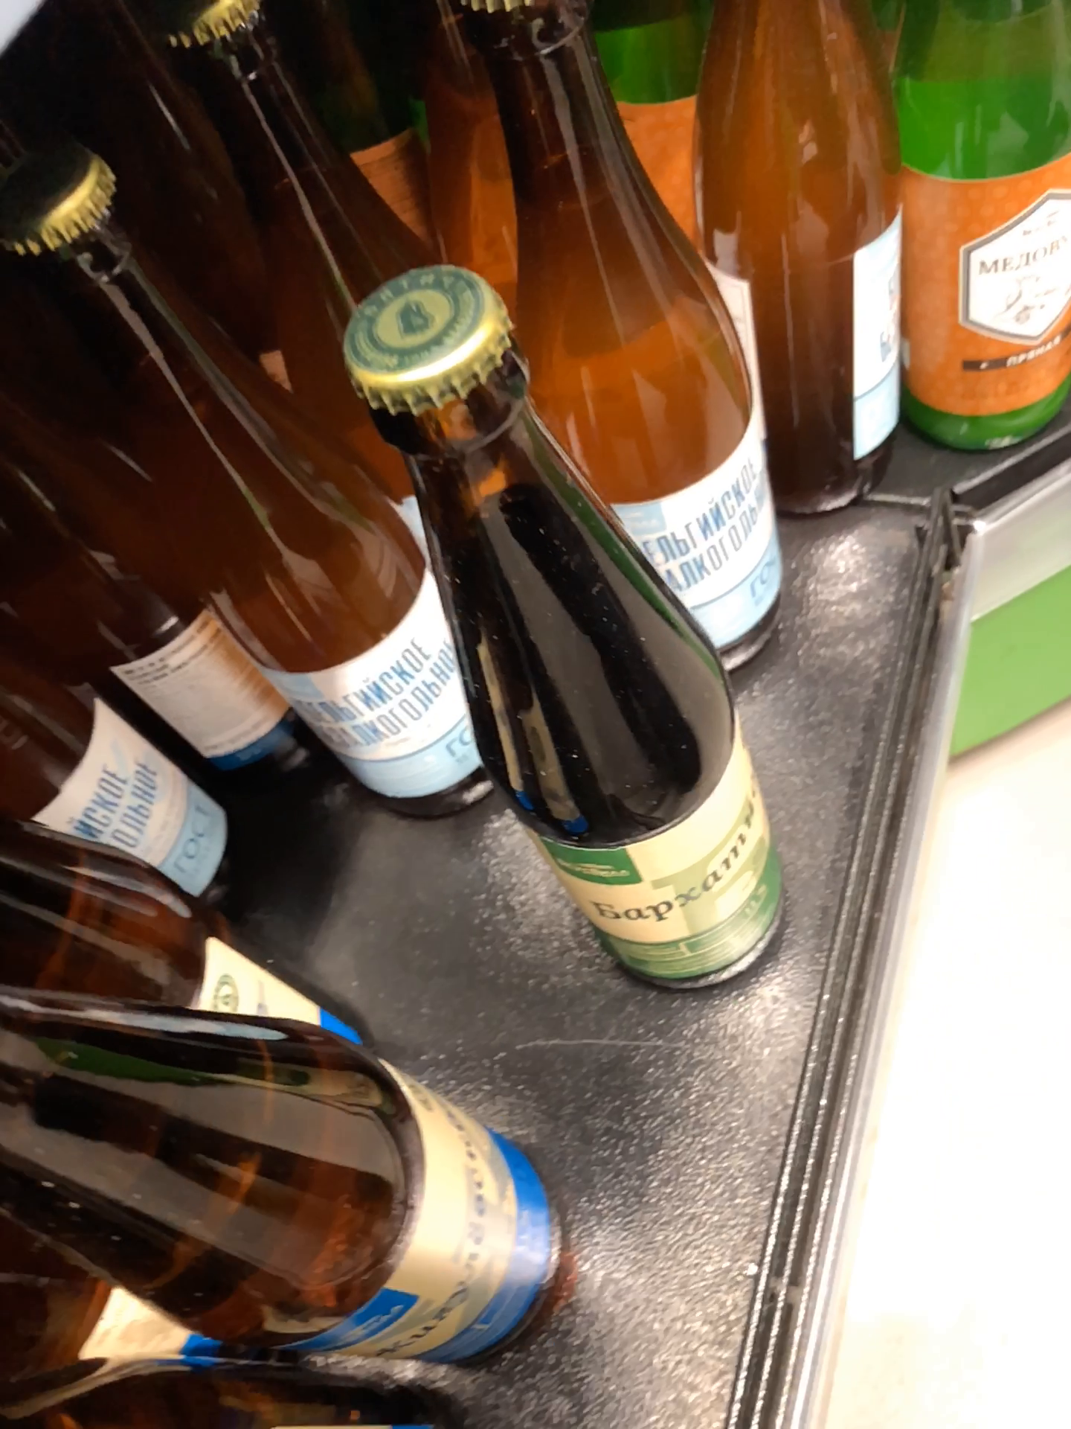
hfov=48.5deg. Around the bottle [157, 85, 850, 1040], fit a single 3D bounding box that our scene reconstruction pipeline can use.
[{"bbox_3d":[0.018,-0.006,0.294,0.080,0.249,0.070,-37,57,-7],"label":"bottle"}]
